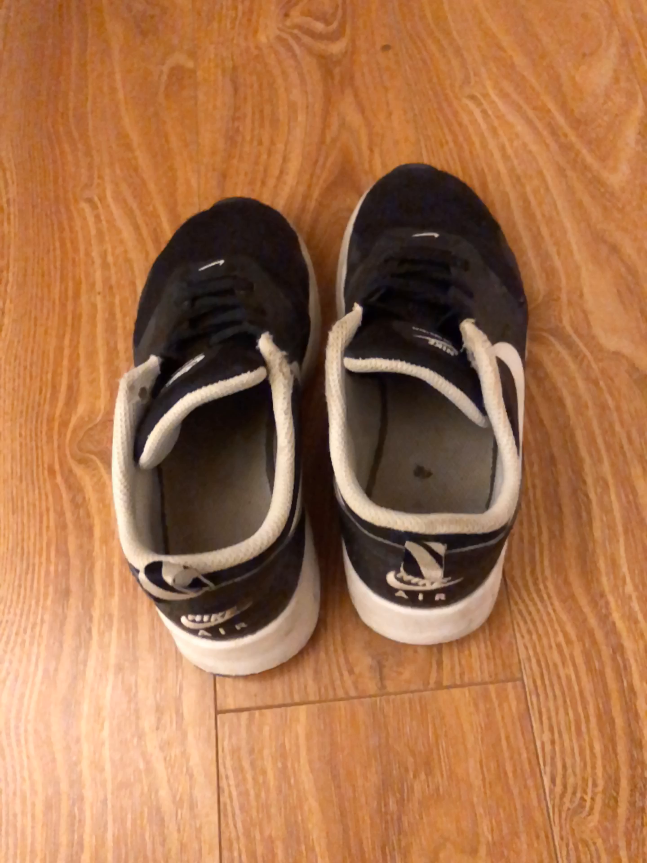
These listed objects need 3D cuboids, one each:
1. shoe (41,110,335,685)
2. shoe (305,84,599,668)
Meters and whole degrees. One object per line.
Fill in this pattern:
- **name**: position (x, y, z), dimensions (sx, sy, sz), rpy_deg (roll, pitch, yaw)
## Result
- **shoe**: position (-0.047, -0.016, 0.310), dimensions (0.090, 0.080, 0.231), rpy_deg (-3, 68, 4)
- **shoe**: position (0.048, -0.026, 0.302), dimensions (0.090, 0.080, 0.231), rpy_deg (1, 68, 5)
